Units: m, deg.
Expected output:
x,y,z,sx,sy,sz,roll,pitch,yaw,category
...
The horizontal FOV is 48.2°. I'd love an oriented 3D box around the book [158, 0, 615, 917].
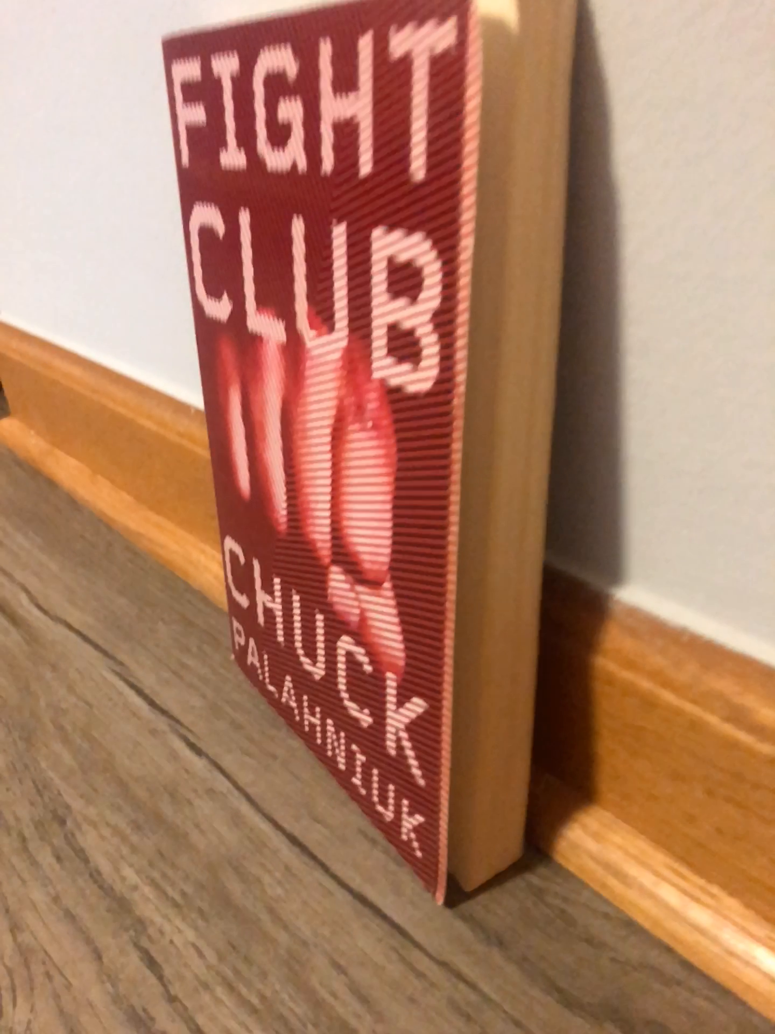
x,y,z,sx,sy,sz,roll,pitch,yaw,category
-0.009,-0.020,0.239,0.030,0.210,0.139,-17,29,-30,book
